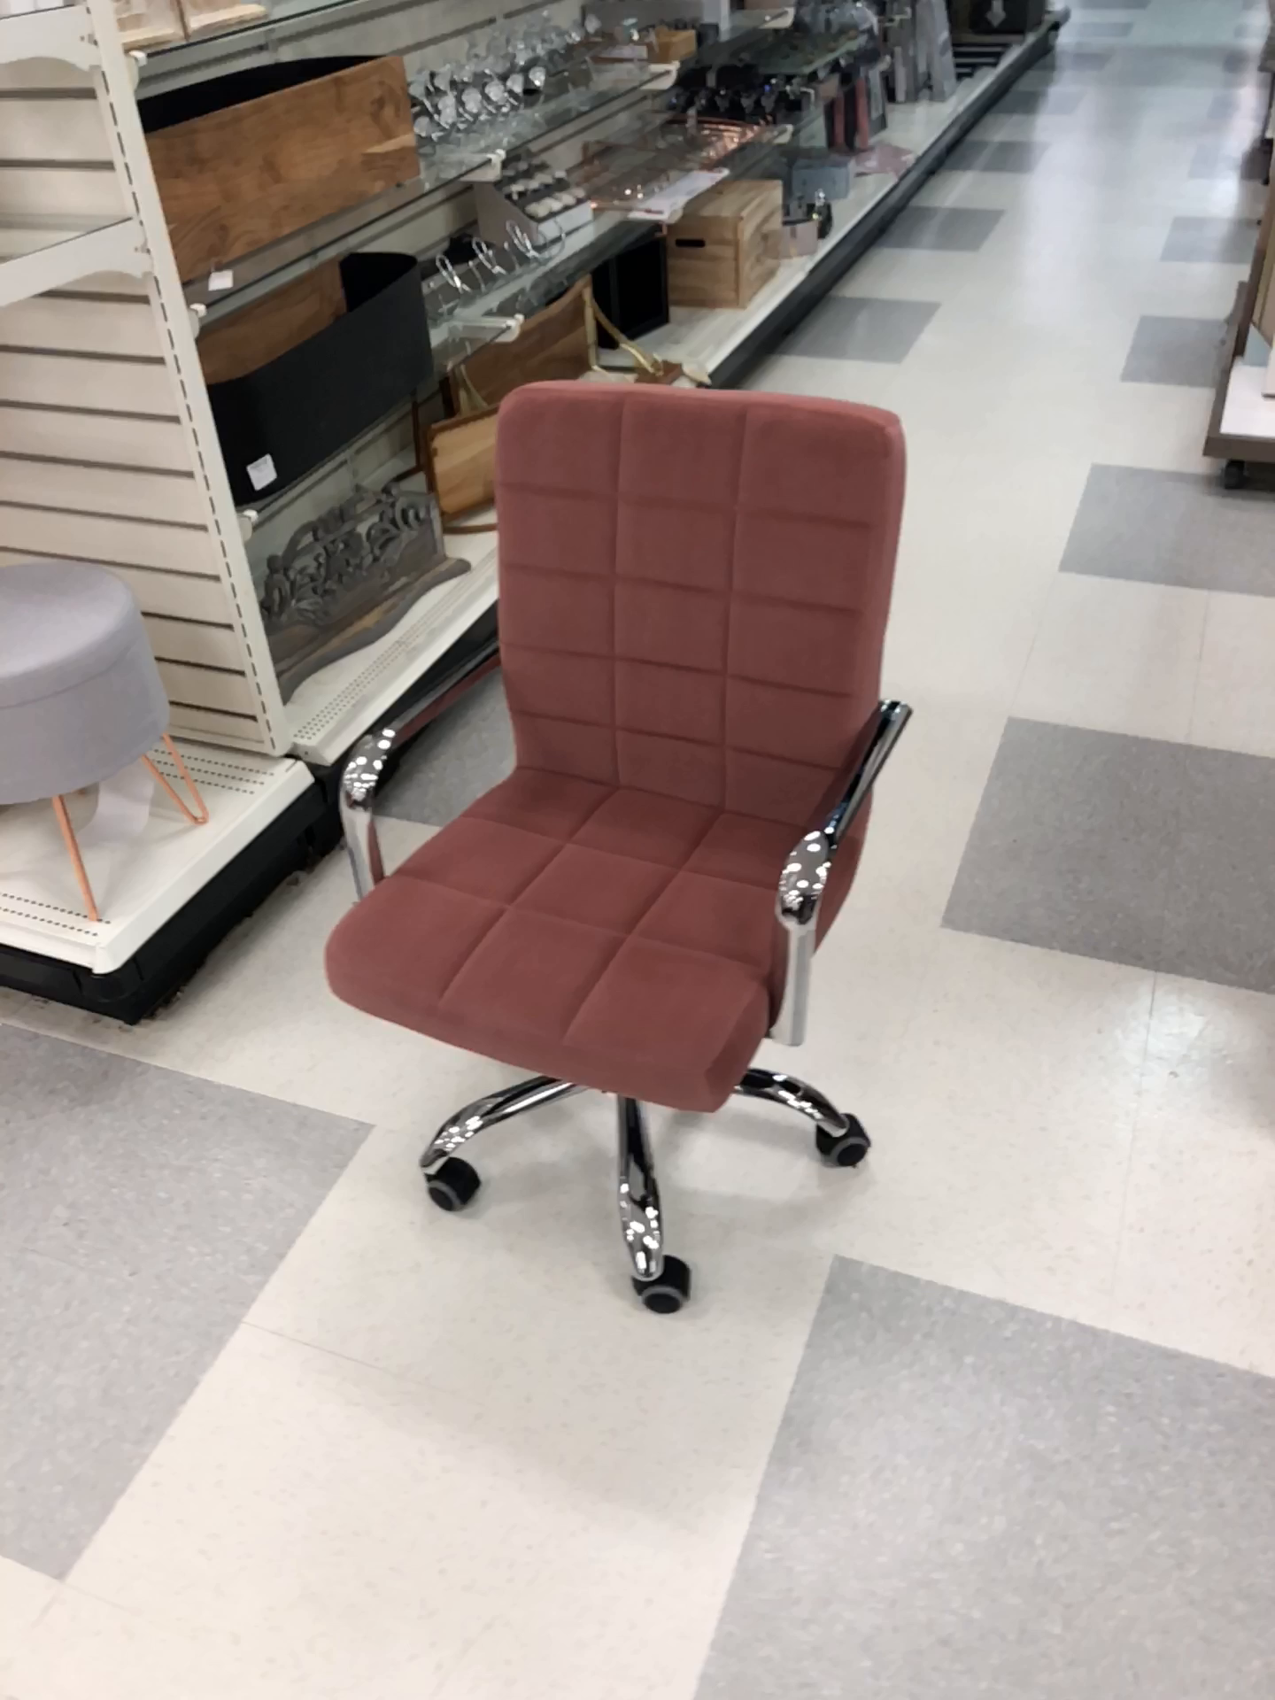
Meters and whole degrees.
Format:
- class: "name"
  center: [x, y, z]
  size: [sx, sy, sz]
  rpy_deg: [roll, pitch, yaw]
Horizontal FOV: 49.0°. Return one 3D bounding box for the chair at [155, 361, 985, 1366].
- class: "chair"
  center: [-0.010, -0.007, 1.528]
  size: [0.574, 0.819, 0.565]
  rpy_deg: [13, 40, 21]
